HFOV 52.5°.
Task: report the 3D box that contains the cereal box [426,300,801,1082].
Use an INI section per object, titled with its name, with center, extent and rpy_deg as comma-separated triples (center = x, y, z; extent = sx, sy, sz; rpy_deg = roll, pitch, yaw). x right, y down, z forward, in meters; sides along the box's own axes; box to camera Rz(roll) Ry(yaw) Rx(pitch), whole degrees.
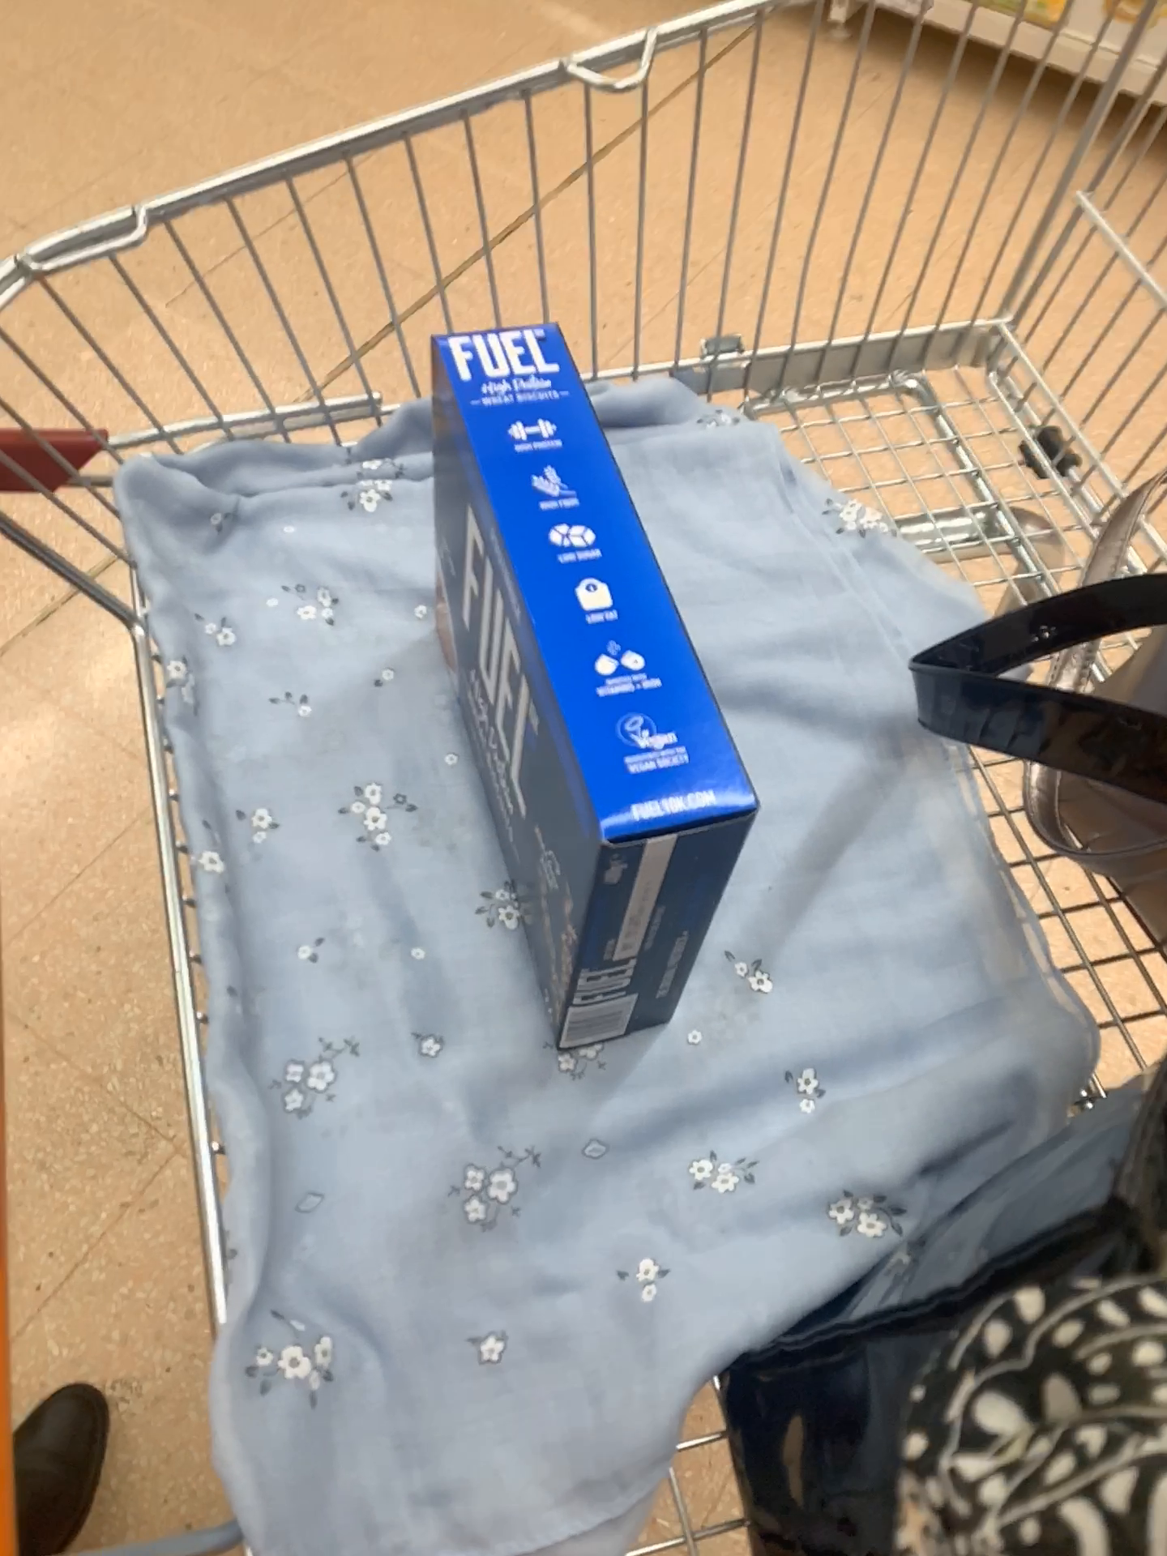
[cereal box]
center = -0.004, -0.030, 0.502
extent = 0.060, 0.209, 0.251
rpy_deg = -13, 61, -11
